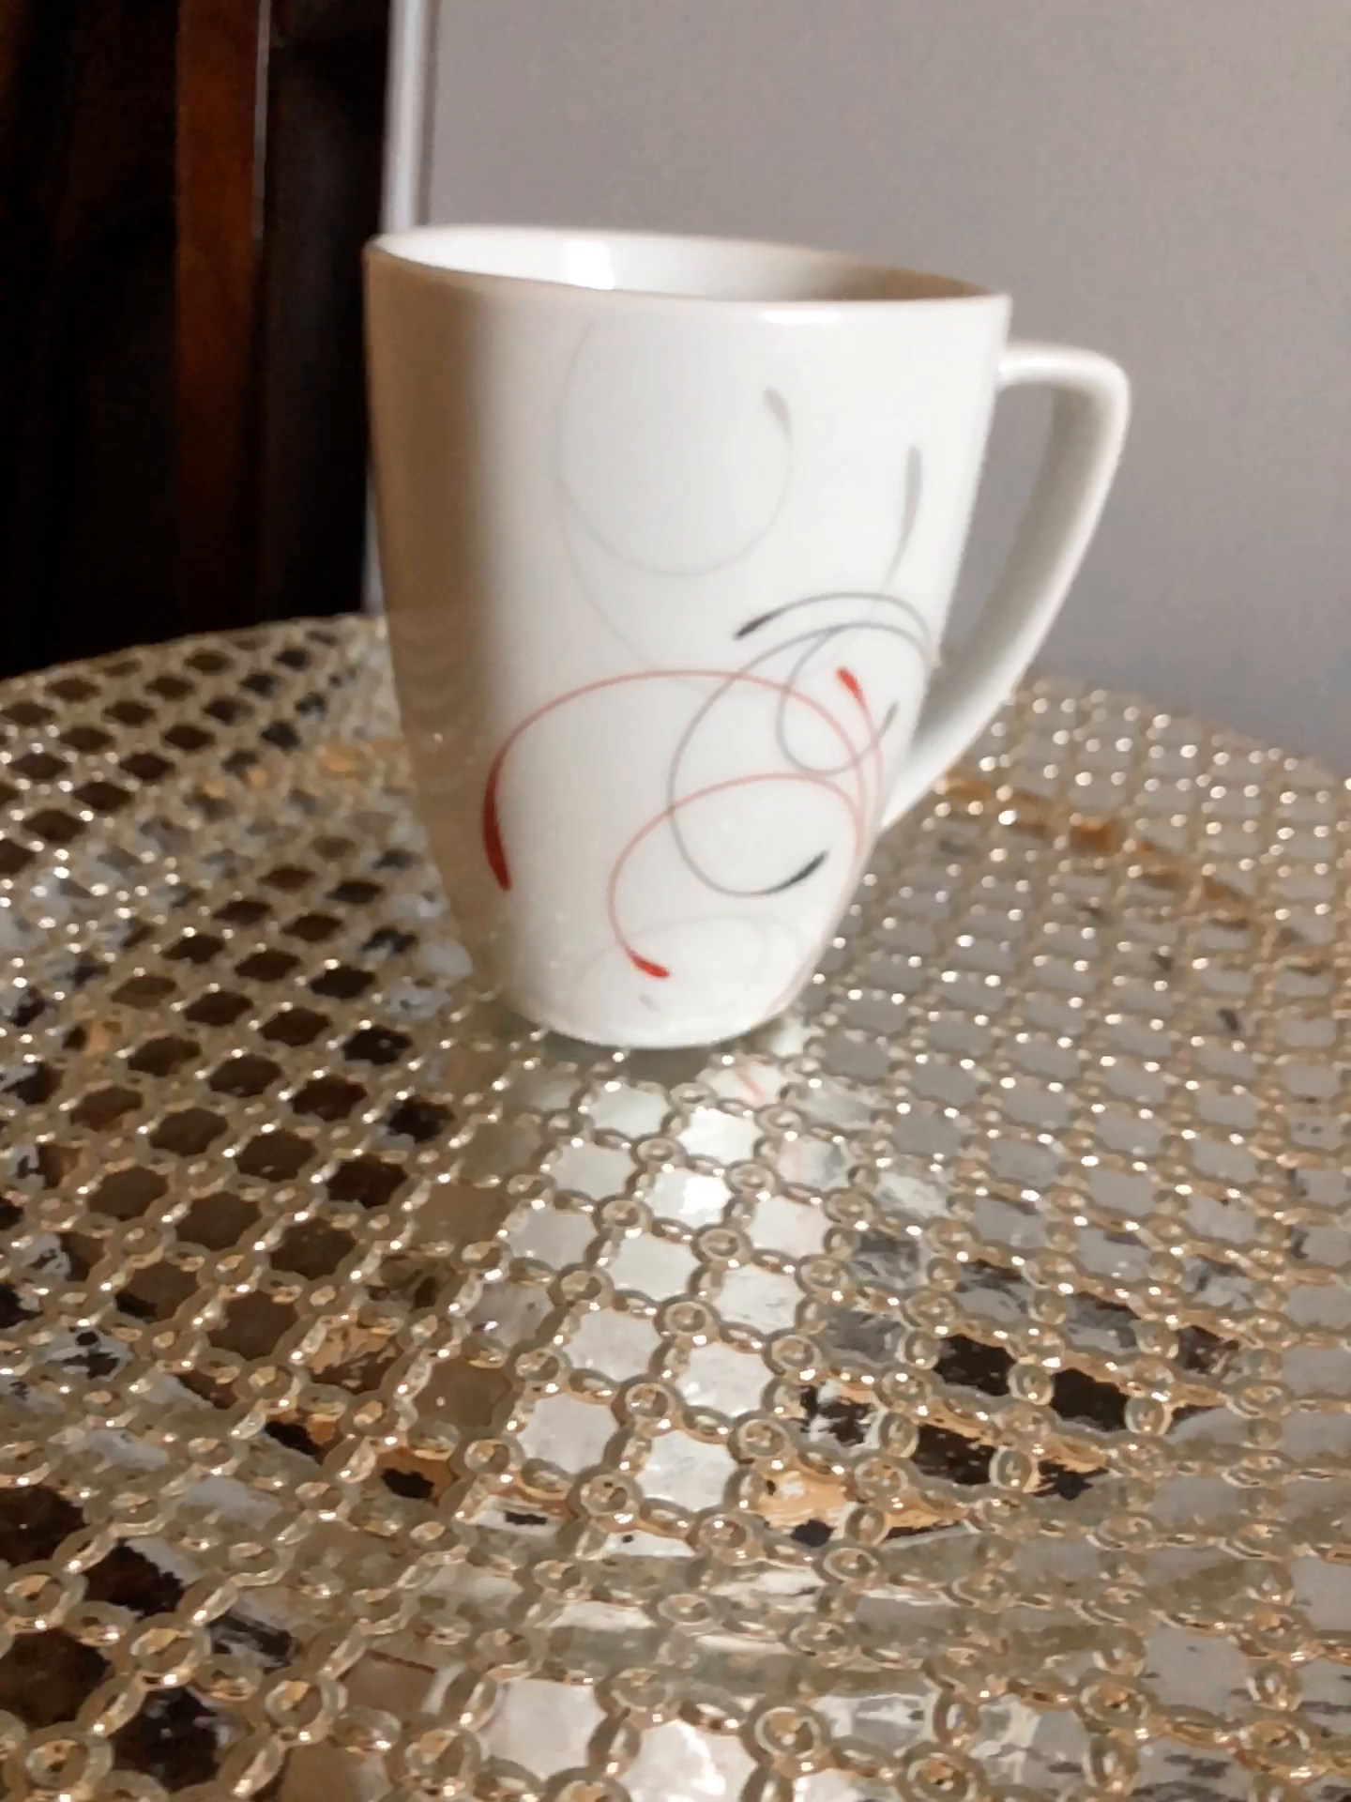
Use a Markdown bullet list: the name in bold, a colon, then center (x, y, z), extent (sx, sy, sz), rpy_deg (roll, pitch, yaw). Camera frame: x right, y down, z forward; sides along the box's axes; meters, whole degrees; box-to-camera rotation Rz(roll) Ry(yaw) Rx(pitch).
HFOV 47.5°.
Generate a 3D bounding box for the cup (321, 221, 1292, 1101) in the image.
- **cup**: center (0.013, -0.044, 0.236), extent (0.110, 0.100, 0.080), rpy_deg (-10, 31, -28)
